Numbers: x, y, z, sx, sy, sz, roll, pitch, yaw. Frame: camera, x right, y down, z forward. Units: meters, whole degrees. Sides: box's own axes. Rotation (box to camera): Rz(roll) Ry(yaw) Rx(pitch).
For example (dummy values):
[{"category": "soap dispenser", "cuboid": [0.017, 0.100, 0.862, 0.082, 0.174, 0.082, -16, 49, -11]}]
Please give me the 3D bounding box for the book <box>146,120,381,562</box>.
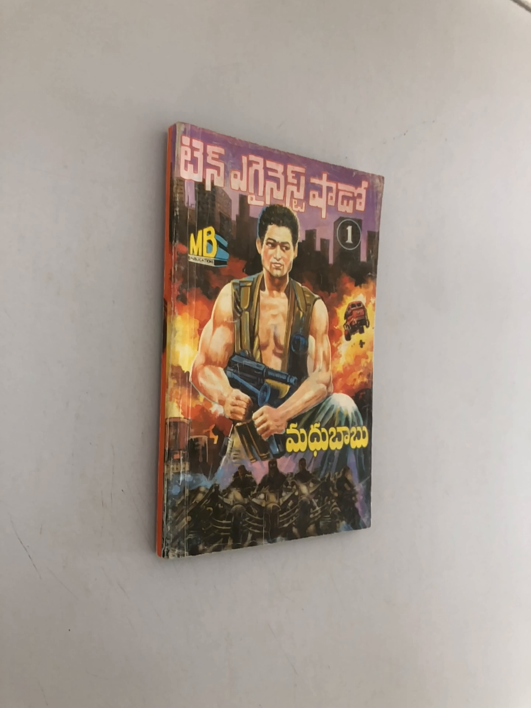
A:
[{"category": "book", "cuboid": [0.004, -0.004, 0.233, 0.100, 0.010, 0.151, 2, 87, -31]}]
